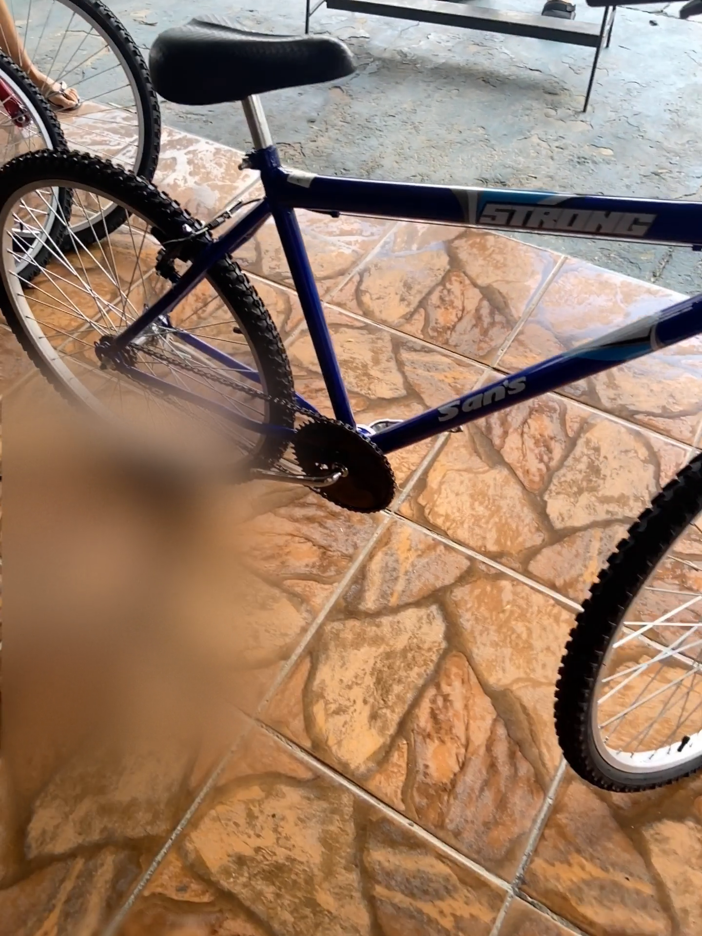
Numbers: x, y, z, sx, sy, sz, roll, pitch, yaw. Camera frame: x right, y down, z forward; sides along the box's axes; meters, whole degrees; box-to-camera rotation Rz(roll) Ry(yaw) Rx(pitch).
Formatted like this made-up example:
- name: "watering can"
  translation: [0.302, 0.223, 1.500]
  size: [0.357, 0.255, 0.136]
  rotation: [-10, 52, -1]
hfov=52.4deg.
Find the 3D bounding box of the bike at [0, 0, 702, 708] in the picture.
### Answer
- name: "bike"
  translation: [0.115, -0.296, 1.090]
  size: [1.524, 1.014, 0.574]
  rotation: [16, 57, 11]
